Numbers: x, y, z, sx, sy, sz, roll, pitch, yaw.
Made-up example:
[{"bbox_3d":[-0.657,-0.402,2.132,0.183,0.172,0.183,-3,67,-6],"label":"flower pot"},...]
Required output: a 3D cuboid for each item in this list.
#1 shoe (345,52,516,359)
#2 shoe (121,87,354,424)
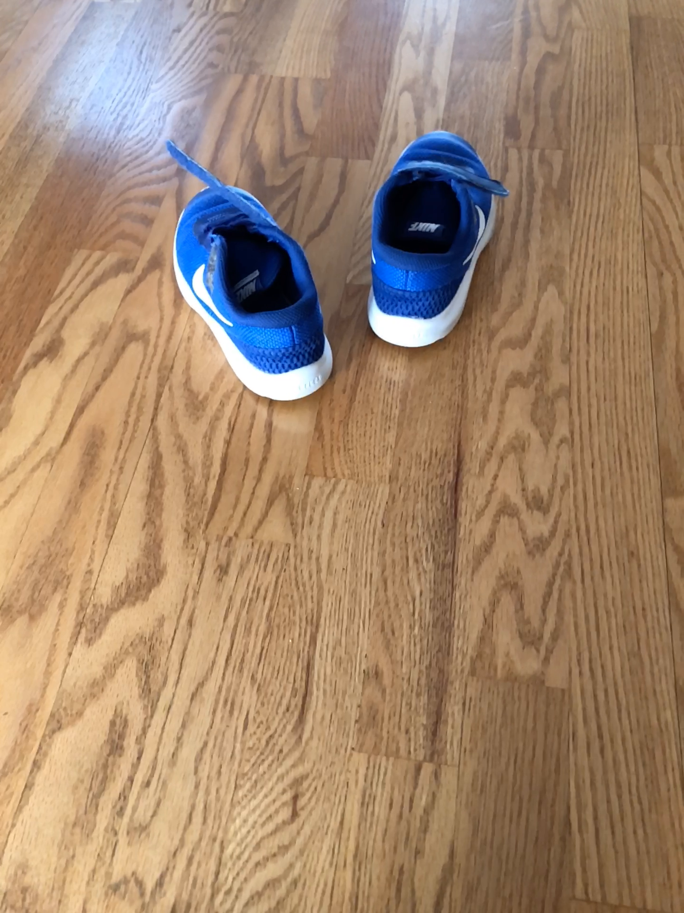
[{"bbox_3d":[0.068,-0.188,0.550,0.093,0.092,0.215,7,59,7],"label":"shoe"},{"bbox_3d":[-0.074,-0.145,0.524,0.093,0.092,0.215,-18,59,-8],"label":"shoe"}]
